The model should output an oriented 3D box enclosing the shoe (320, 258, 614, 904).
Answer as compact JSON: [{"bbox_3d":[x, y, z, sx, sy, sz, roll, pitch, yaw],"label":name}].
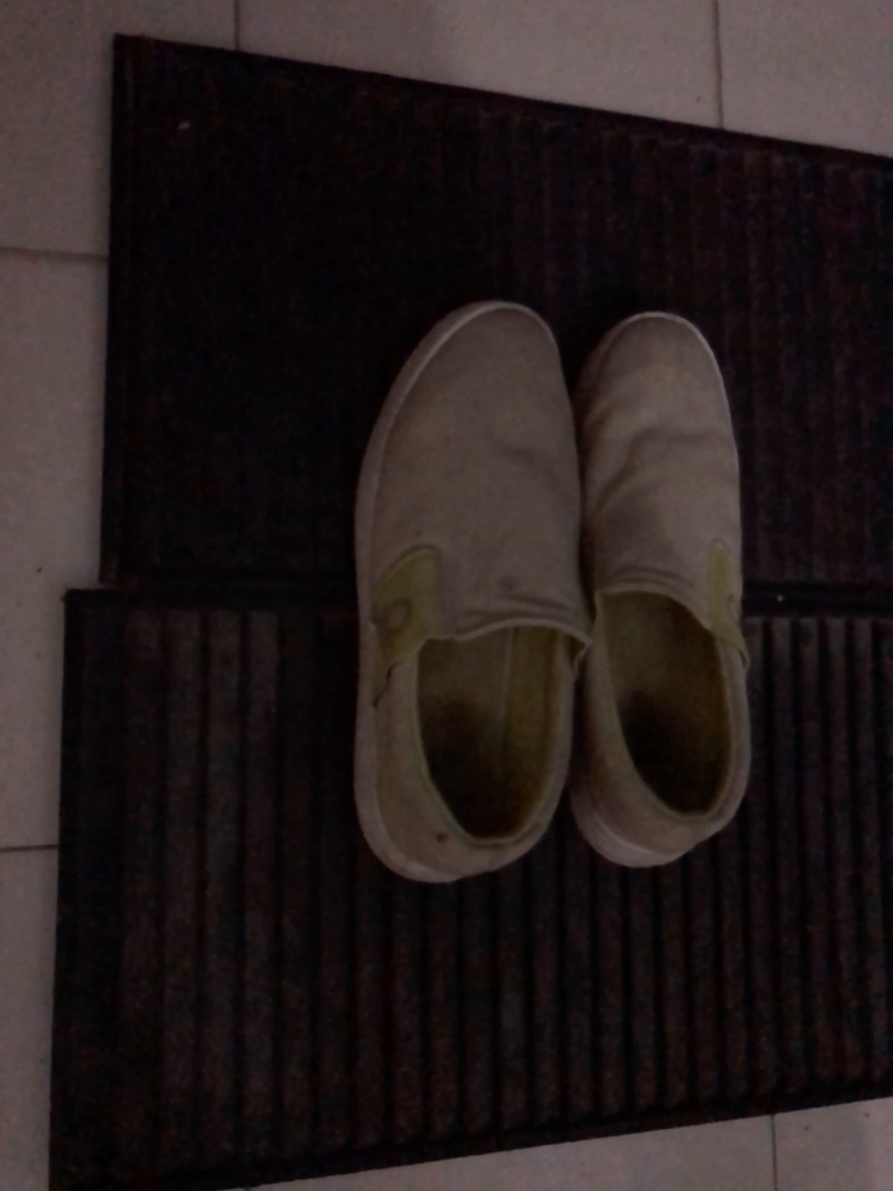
[{"bbox_3d":[0.010,-0.003,0.511,0.120,0.090,0.300,5,82,-15],"label":"shoe"}]

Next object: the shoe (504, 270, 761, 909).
[{"bbox_3d":[0.104,-0.001,0.562,0.110,0.090,0.330,5,82,-15],"label":"shoe"}]
